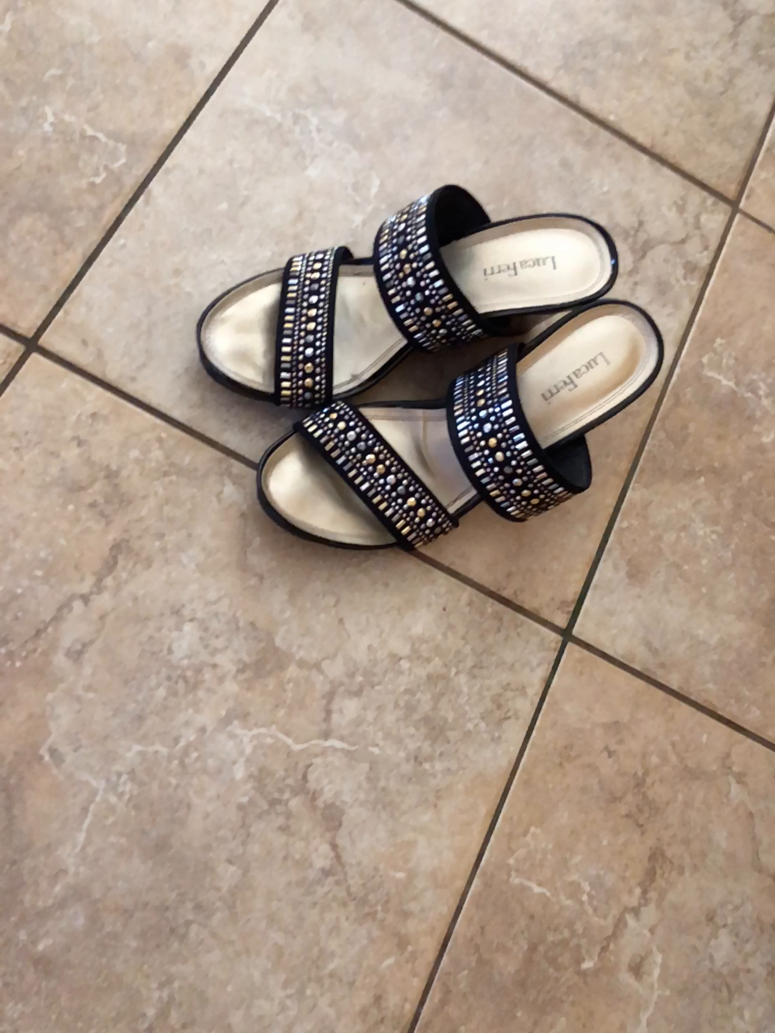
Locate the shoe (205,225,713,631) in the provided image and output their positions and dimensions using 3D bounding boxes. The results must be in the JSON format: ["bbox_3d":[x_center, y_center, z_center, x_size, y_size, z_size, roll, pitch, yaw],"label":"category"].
[{"bbox_3d":[0.032,-0.045,0.445,0.220,0.100,0.110,-25,83,-19],"label":"shoe"}]

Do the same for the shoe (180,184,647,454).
[{"bbox_3d":[0.007,-0.106,0.461,0.220,0.100,0.090,-9,78,-16],"label":"shoe"}]
